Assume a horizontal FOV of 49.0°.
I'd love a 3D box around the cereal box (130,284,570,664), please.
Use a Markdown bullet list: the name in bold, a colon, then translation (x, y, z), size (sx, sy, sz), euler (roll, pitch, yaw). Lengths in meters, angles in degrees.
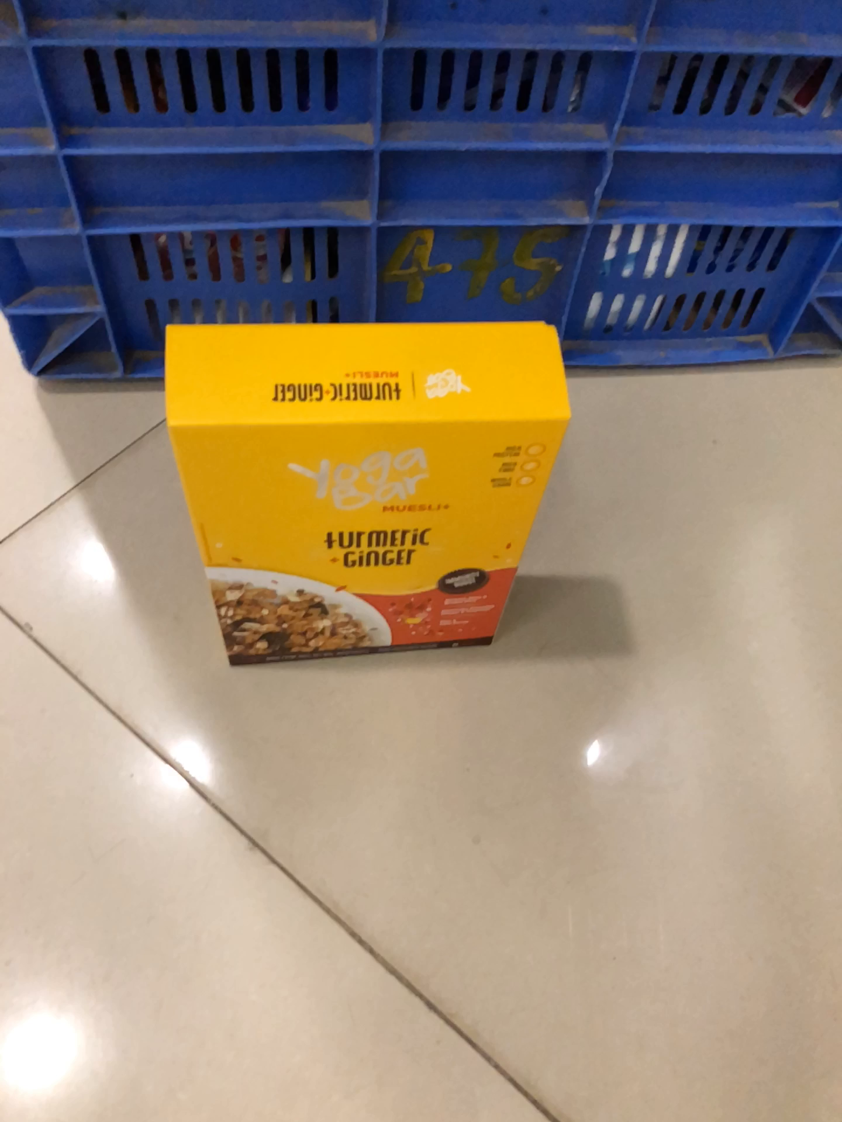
- **cereal box**: translation (-0.036, -0.029, 0.470), size (0.170, 0.229, 0.060), euler (-4, 59, -7)
